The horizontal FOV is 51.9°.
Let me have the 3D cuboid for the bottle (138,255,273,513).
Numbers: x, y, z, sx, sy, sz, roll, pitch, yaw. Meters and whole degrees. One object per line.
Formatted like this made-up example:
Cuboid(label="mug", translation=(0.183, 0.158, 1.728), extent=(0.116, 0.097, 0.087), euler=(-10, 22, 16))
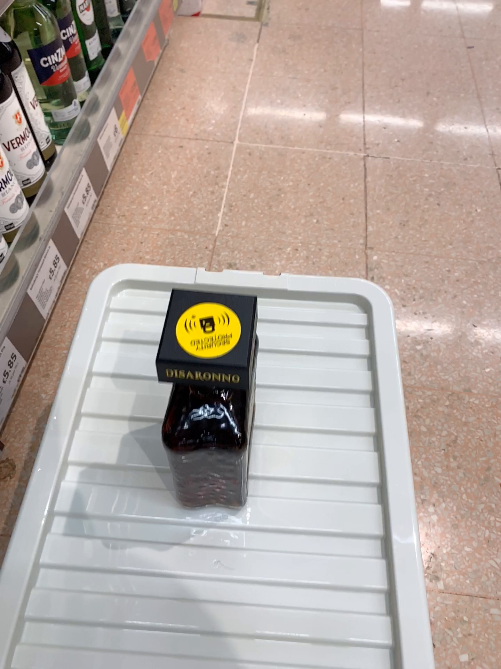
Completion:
Cuboid(label="bottle", translation=(-0.026, 0.052, 0.407), extent=(0.070, 0.208, 0.111), euler=(5, 56, 2))
